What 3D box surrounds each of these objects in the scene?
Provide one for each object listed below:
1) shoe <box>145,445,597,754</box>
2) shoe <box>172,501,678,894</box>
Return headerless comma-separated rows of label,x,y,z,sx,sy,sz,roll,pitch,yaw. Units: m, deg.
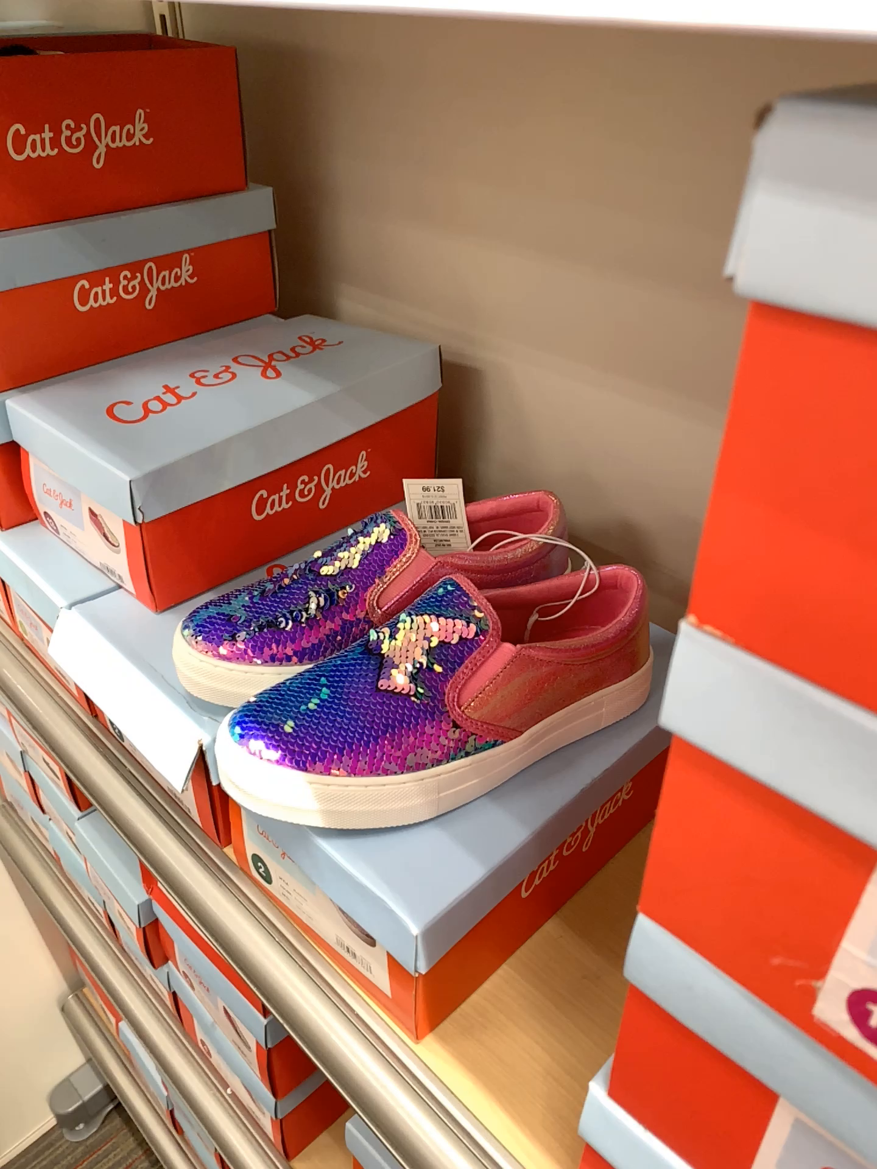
shoe,-0.035,-0.002,0.483,0.210,0.074,0.100,-16,36,-21
shoe,-0.001,0.040,0.421,0.210,0.074,0.090,-21,38,-27
